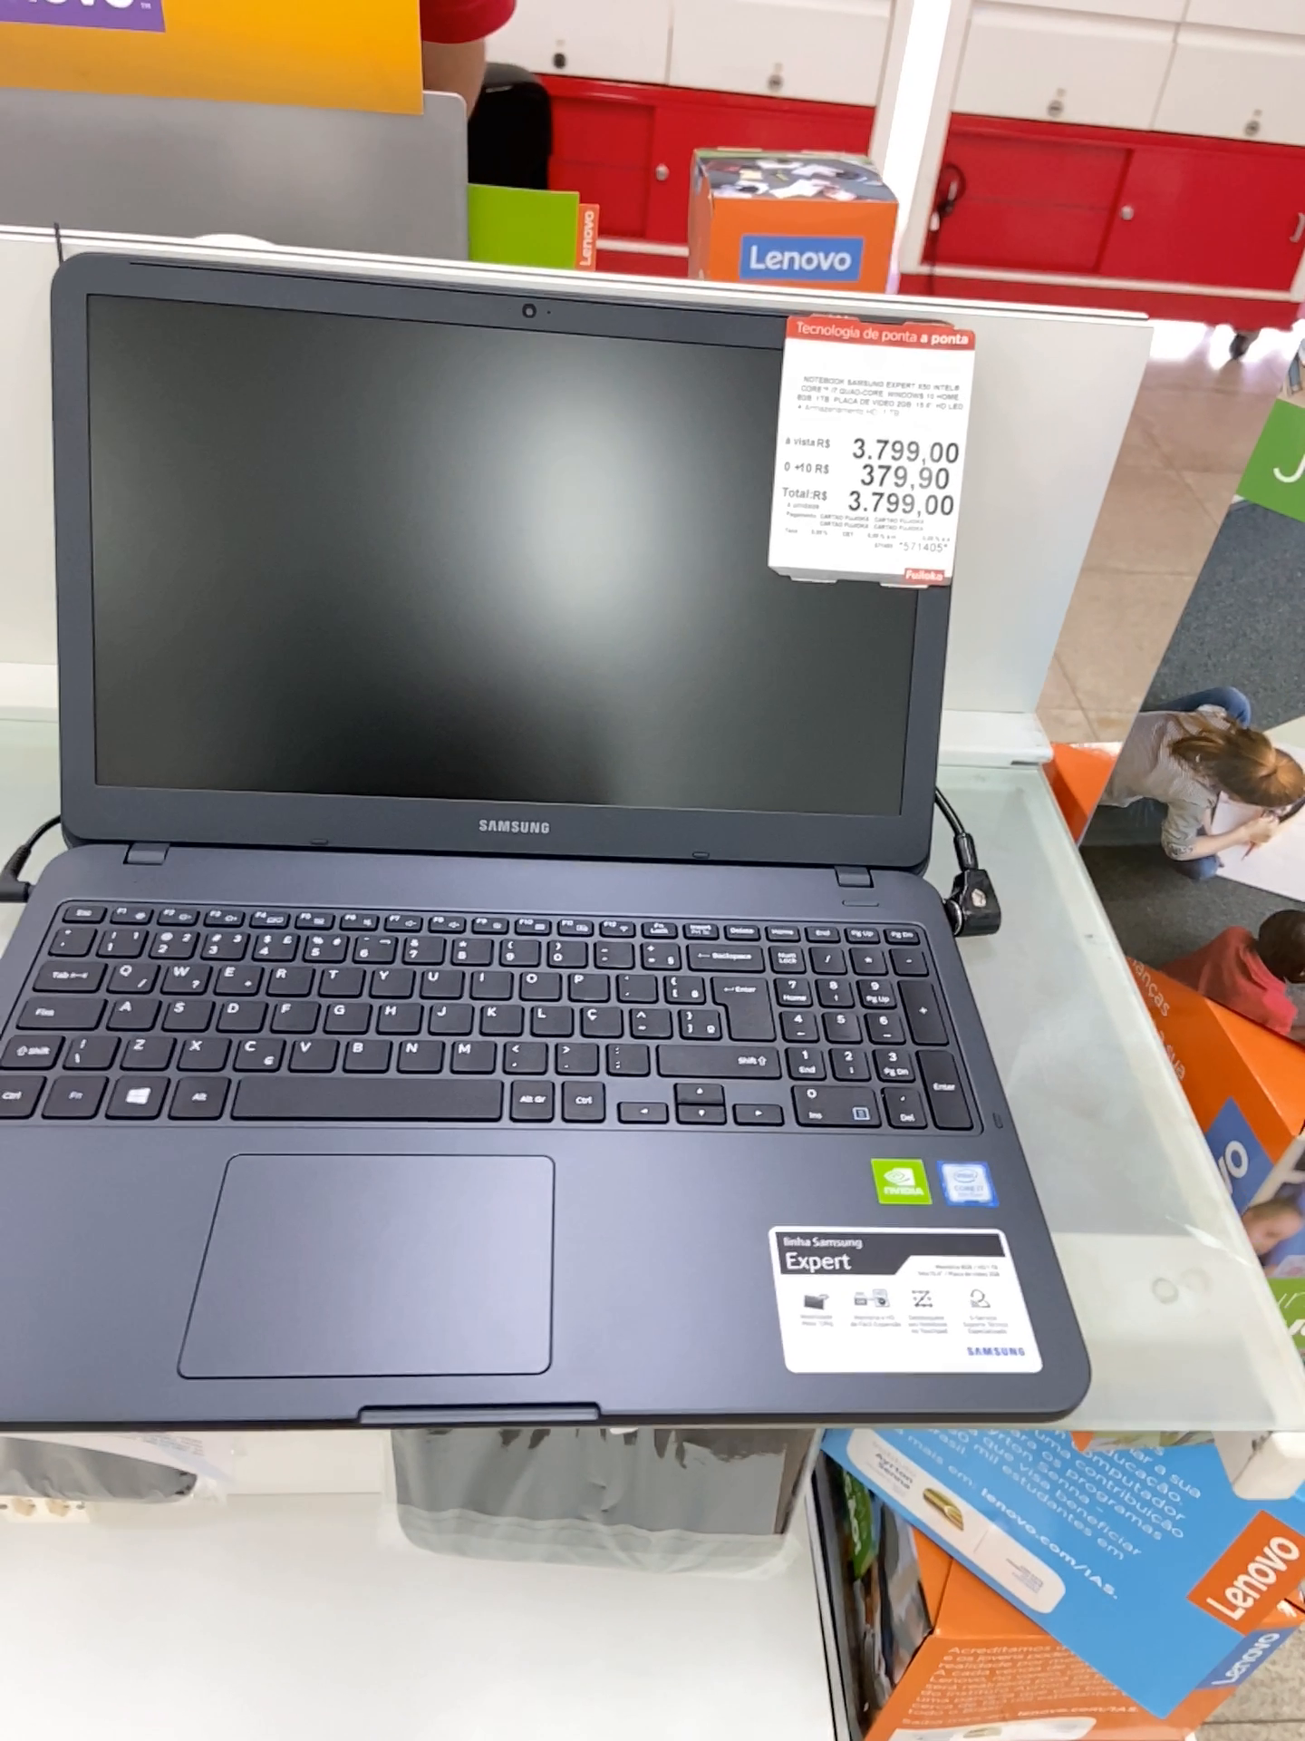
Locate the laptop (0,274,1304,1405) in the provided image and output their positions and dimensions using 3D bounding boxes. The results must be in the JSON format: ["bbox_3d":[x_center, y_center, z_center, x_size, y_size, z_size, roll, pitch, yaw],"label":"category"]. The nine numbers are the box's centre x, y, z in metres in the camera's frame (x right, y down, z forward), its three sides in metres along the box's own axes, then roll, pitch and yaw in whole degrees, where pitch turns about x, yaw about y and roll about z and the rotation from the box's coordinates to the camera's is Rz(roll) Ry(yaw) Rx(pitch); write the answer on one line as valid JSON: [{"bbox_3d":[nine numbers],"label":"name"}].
[{"bbox_3d":[-0.050,-0.038,0.470,0.371,0.192,0.371,2,40,-5],"label":"laptop"}]
